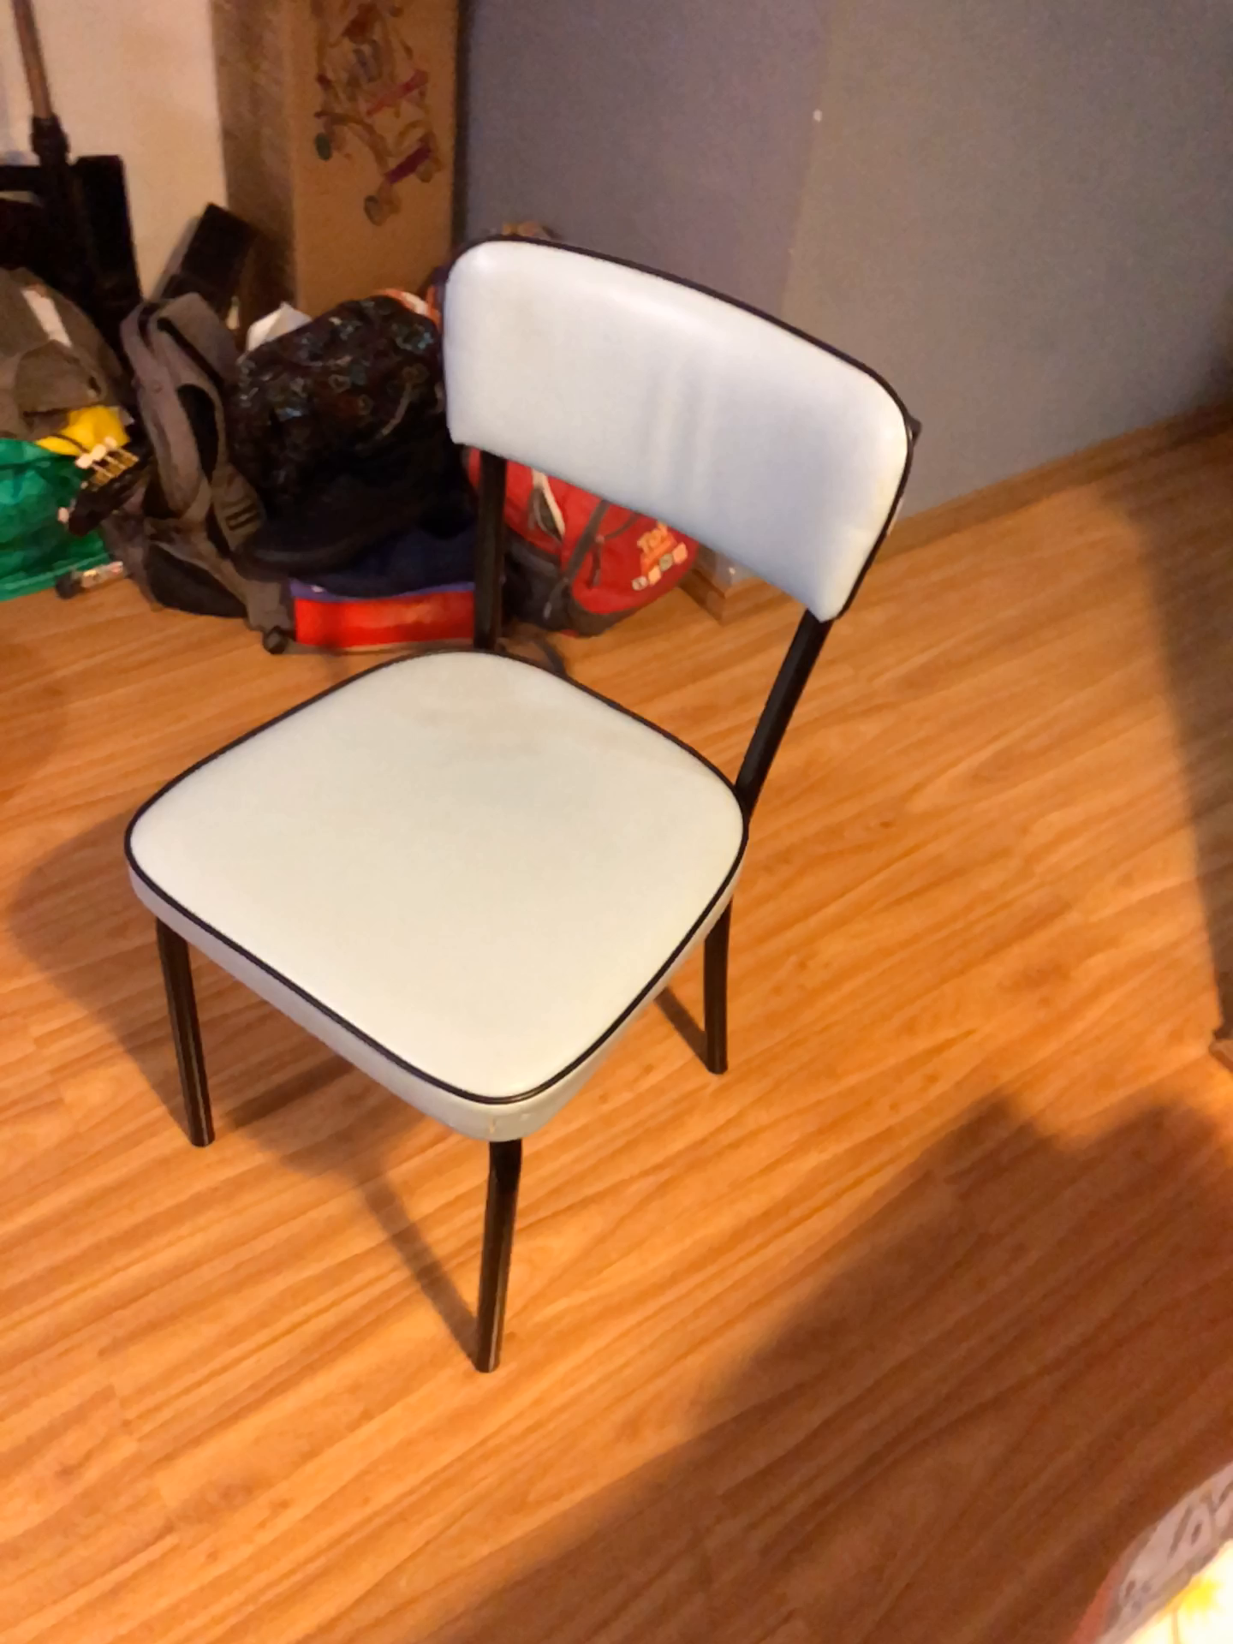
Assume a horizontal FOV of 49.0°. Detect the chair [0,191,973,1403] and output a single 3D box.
[{"bbox_3d":[-0.112,0.003,1.161,0.451,0.794,0.503,31,51,21],"label":"chair"}]
